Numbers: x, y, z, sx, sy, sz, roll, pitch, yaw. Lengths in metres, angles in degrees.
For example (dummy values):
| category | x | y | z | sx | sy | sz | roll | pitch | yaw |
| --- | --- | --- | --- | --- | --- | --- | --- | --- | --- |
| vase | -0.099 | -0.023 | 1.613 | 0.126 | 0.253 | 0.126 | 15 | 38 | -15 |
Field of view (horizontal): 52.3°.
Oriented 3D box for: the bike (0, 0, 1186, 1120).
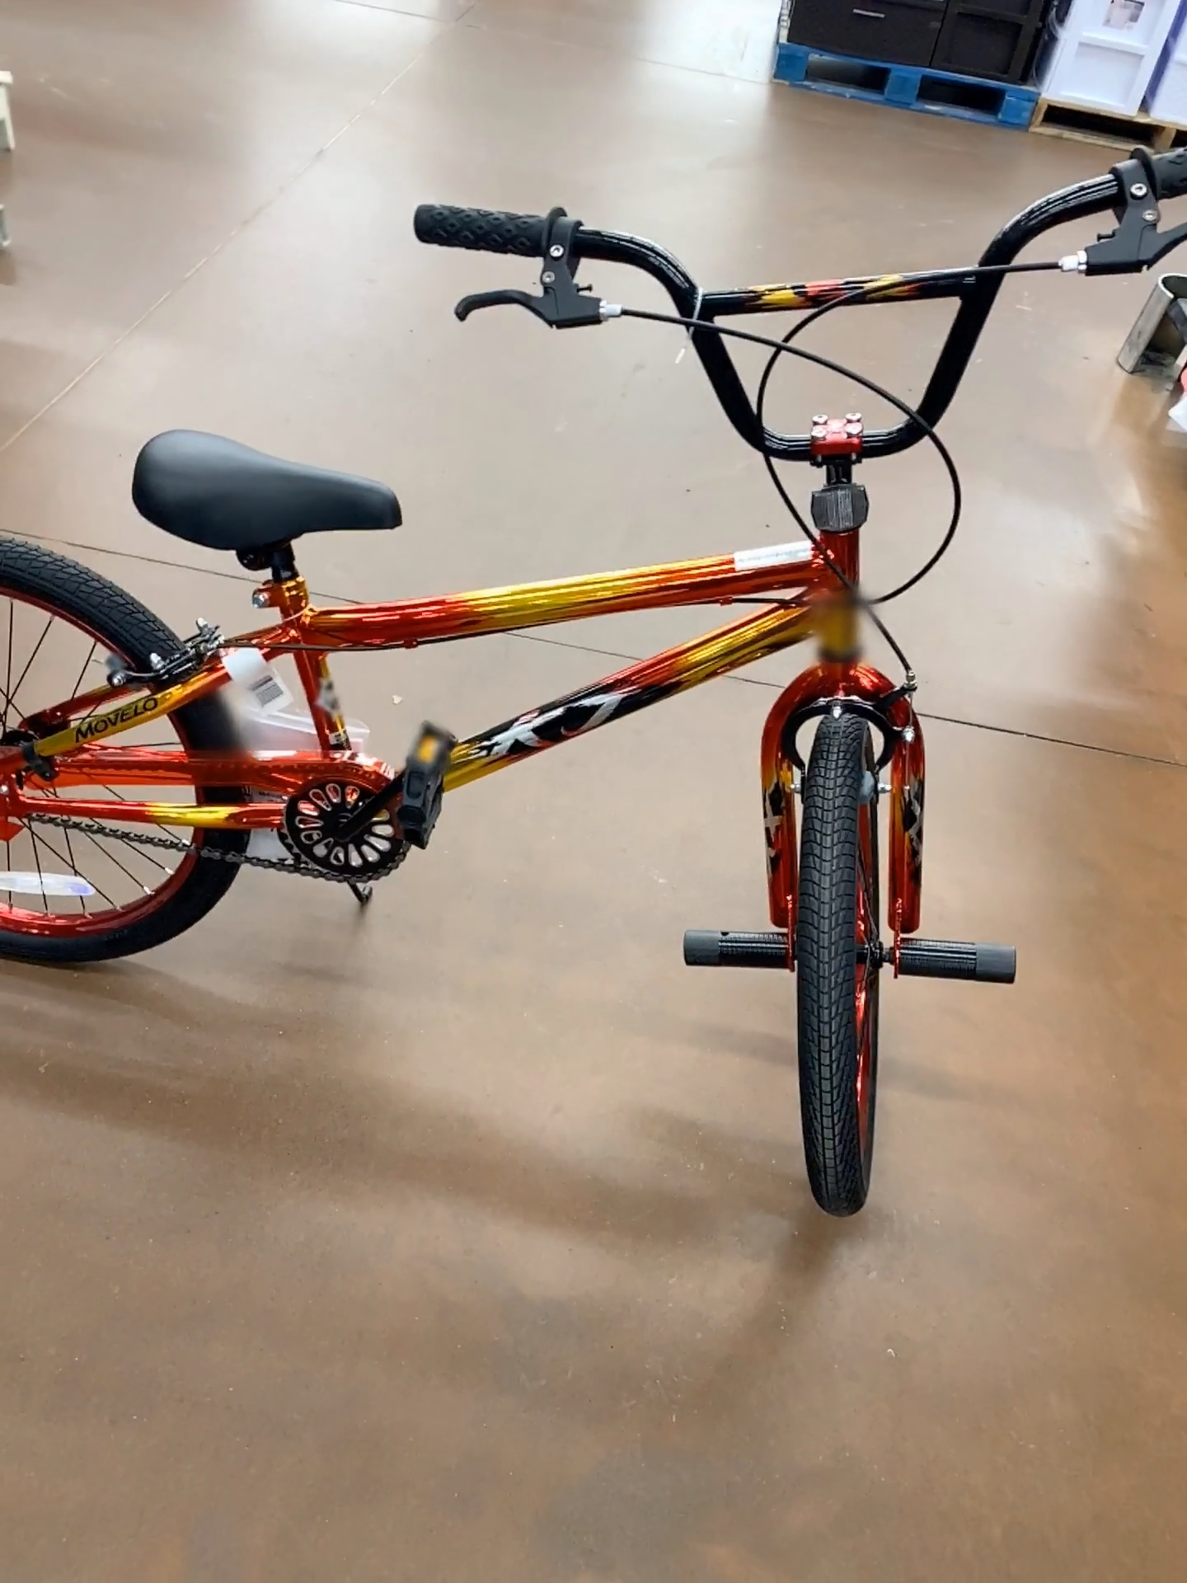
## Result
| category | x | y | z | sx | sy | sz | roll | pitch | yaw |
| --- | --- | --- | --- | --- | --- | --- | --- | --- | --- |
| bike | -0.208 | -0.264 | 1.145 | 1.122 | 0.925 | 0.707 | 3 | 43 | -7 |
